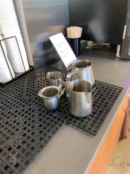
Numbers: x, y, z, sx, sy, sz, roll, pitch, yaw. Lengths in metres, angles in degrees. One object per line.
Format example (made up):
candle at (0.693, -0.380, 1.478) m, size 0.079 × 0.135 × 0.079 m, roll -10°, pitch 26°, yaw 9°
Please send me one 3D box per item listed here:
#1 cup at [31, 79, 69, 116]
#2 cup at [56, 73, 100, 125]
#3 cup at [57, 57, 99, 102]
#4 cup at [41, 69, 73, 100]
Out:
cup at (-0.050, 0.034, 0.483) m, size 0.110 × 0.070 × 0.070 m, roll -27°, pitch 40°, yaw -30°
cup at (0.044, 0.038, 0.474) m, size 0.080 × 0.119 × 0.121 m, roll -31°, pitch 42°, yaw -34°
cup at (0.056, -0.038, 0.575) m, size 0.140 × 0.119 × 0.100 m, roll -28°, pitch 41°, yaw -31°
cup at (-0.033, -0.015, 0.554) m, size 0.070 × 0.070 × 0.111 m, roll -30°, pitch 42°, yaw -33°
